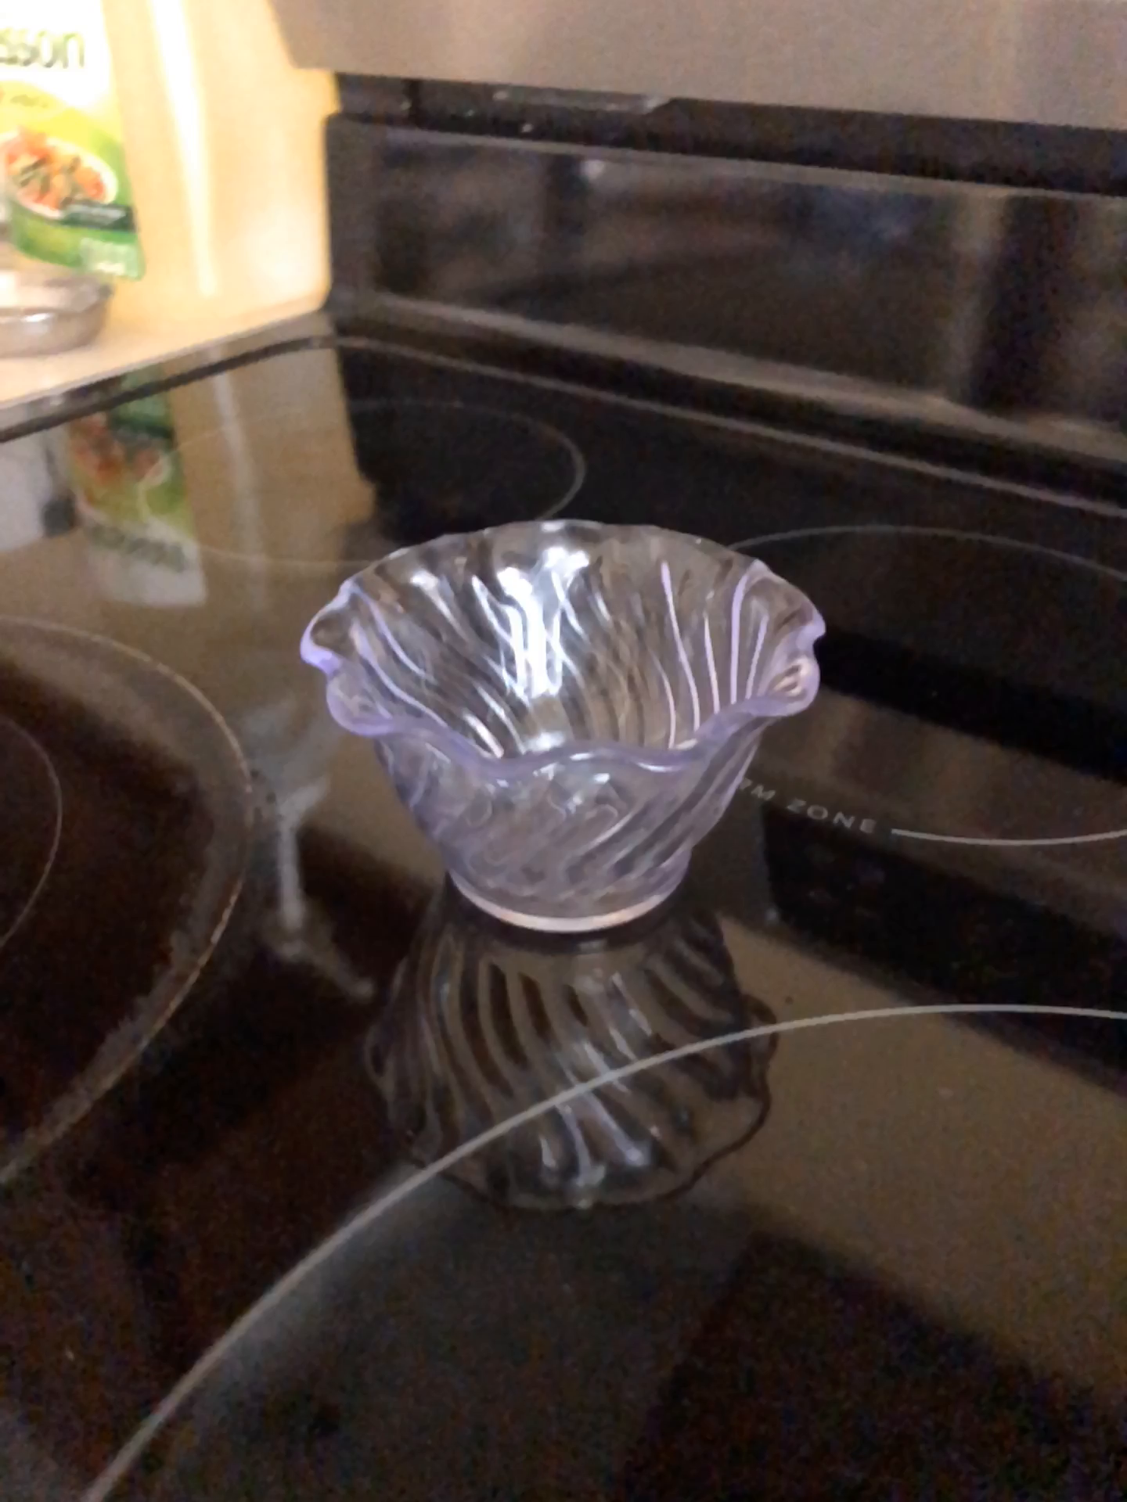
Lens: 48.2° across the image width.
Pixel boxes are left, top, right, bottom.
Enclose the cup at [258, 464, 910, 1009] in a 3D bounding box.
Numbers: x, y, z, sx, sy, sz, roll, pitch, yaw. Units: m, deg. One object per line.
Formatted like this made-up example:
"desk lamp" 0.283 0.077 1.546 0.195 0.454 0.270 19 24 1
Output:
"cup" -0.001 -0.011 0.243 0.090 0.049 0.091 -1 33 0
